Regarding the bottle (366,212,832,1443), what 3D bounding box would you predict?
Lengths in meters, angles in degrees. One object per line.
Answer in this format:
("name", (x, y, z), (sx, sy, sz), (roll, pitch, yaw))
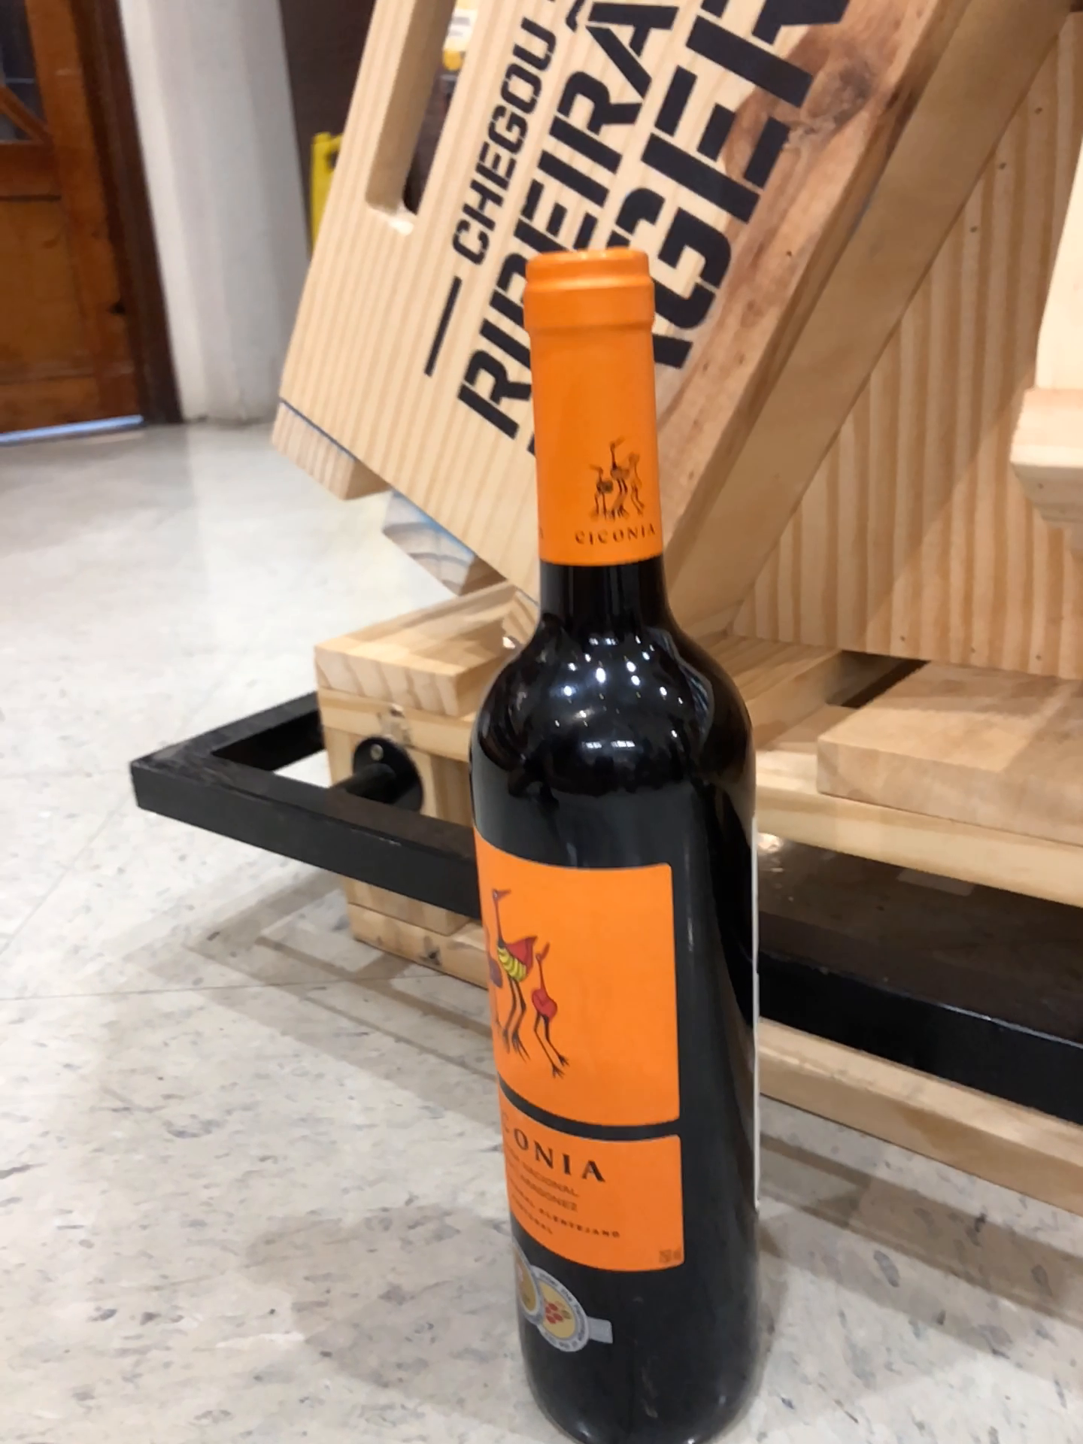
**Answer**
("bottle", (0.020, 0.040, 0.321), (0.070, 0.318, 0.080), (-17, 23, -33))
